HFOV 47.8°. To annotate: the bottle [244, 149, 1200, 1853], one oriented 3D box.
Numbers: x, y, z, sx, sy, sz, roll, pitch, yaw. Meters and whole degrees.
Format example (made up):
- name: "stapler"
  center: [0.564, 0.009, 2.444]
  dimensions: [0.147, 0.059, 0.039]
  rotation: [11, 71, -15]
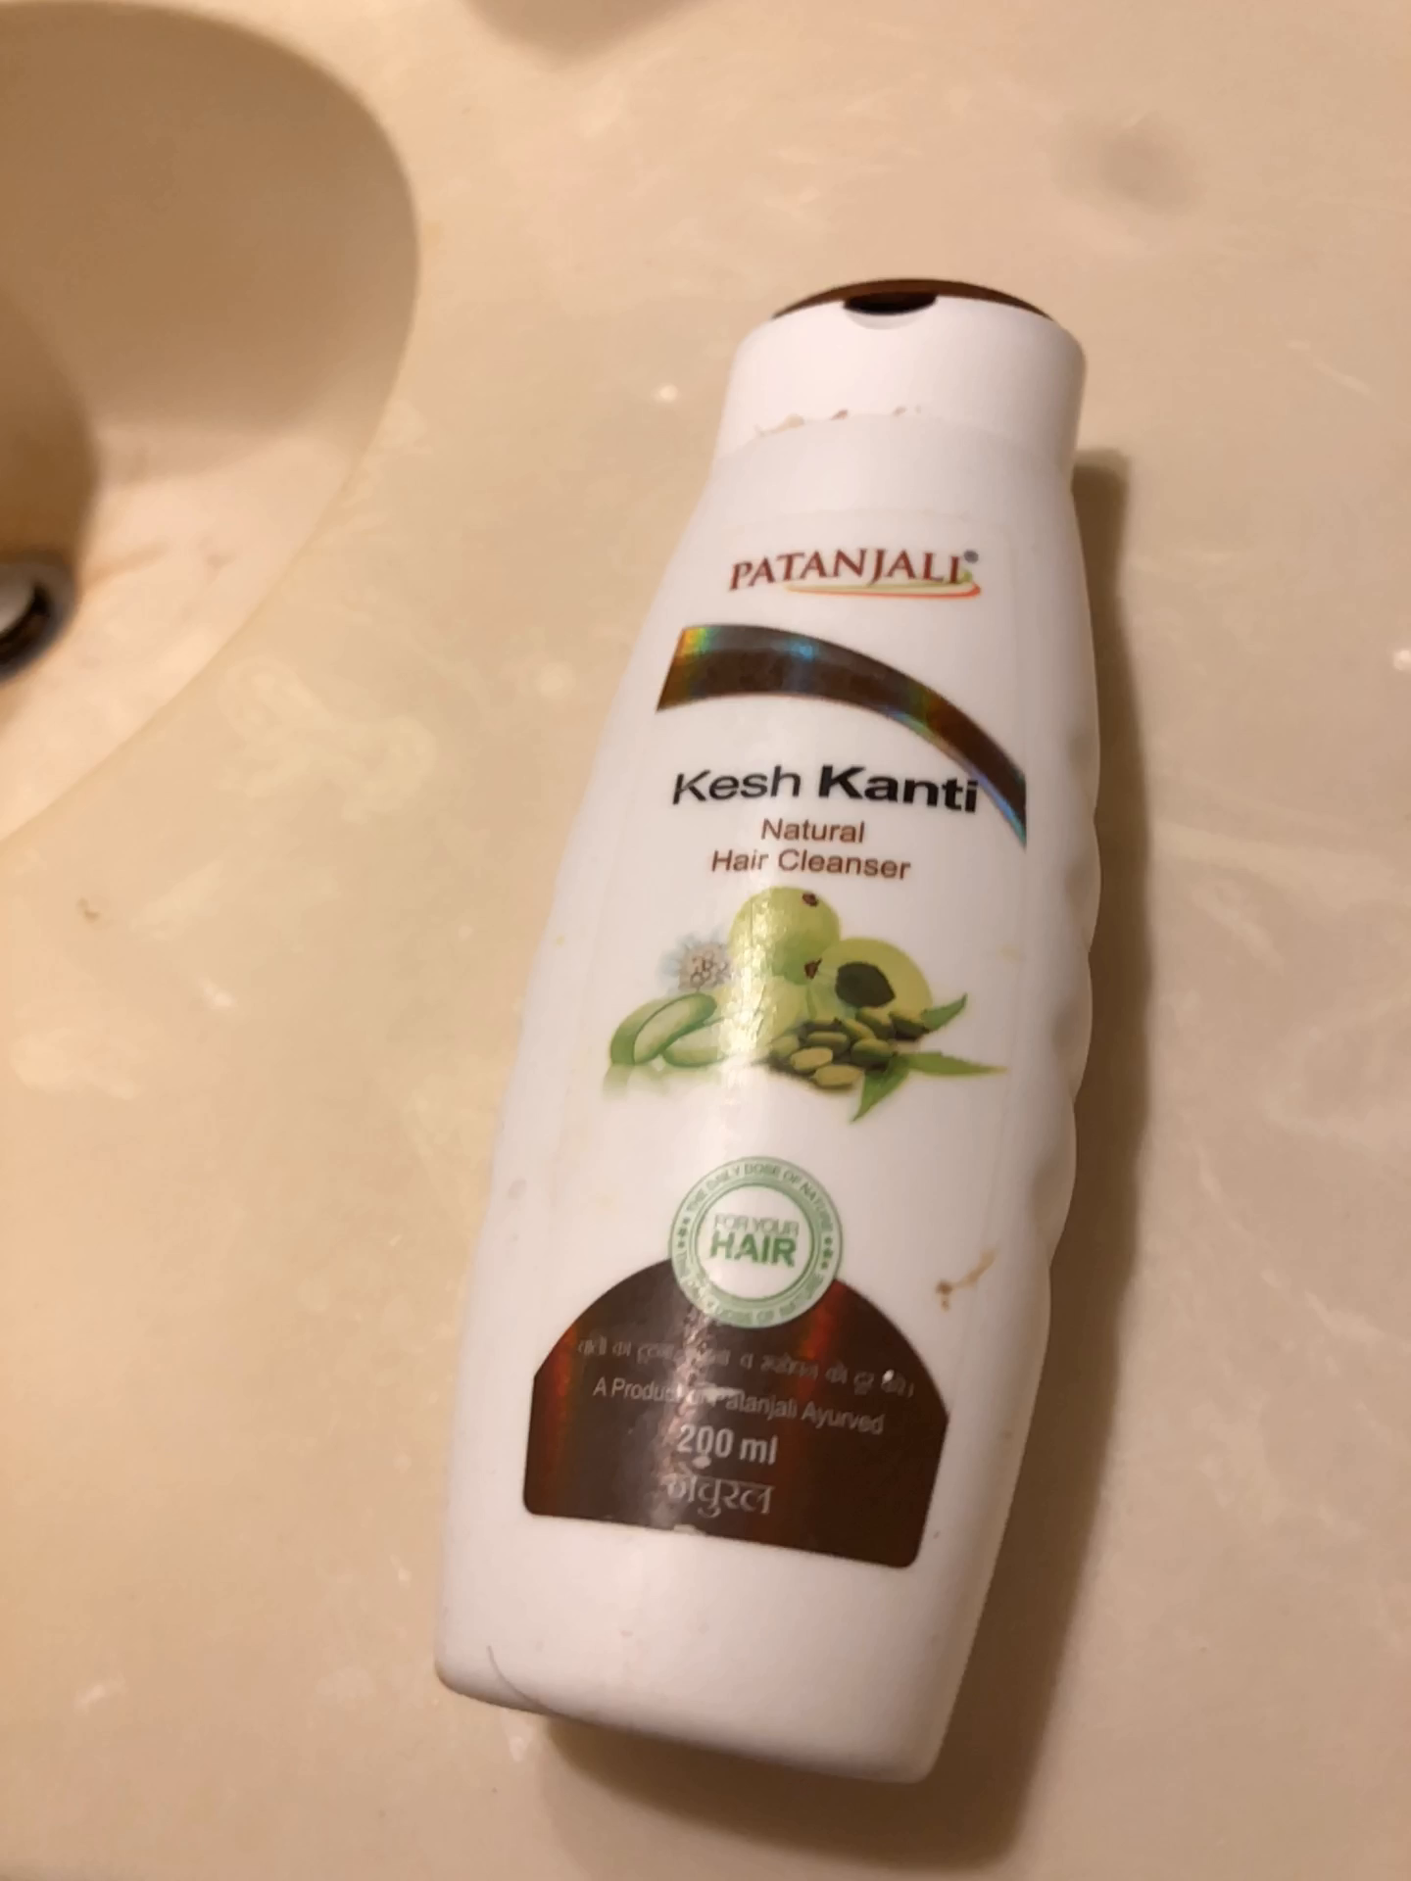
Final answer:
- name: "bottle"
  center: [0.017, -0.010, 0.195]
  dimensions: [0.070, 0.040, 0.200]
  rotation: [4, 62, 19]
